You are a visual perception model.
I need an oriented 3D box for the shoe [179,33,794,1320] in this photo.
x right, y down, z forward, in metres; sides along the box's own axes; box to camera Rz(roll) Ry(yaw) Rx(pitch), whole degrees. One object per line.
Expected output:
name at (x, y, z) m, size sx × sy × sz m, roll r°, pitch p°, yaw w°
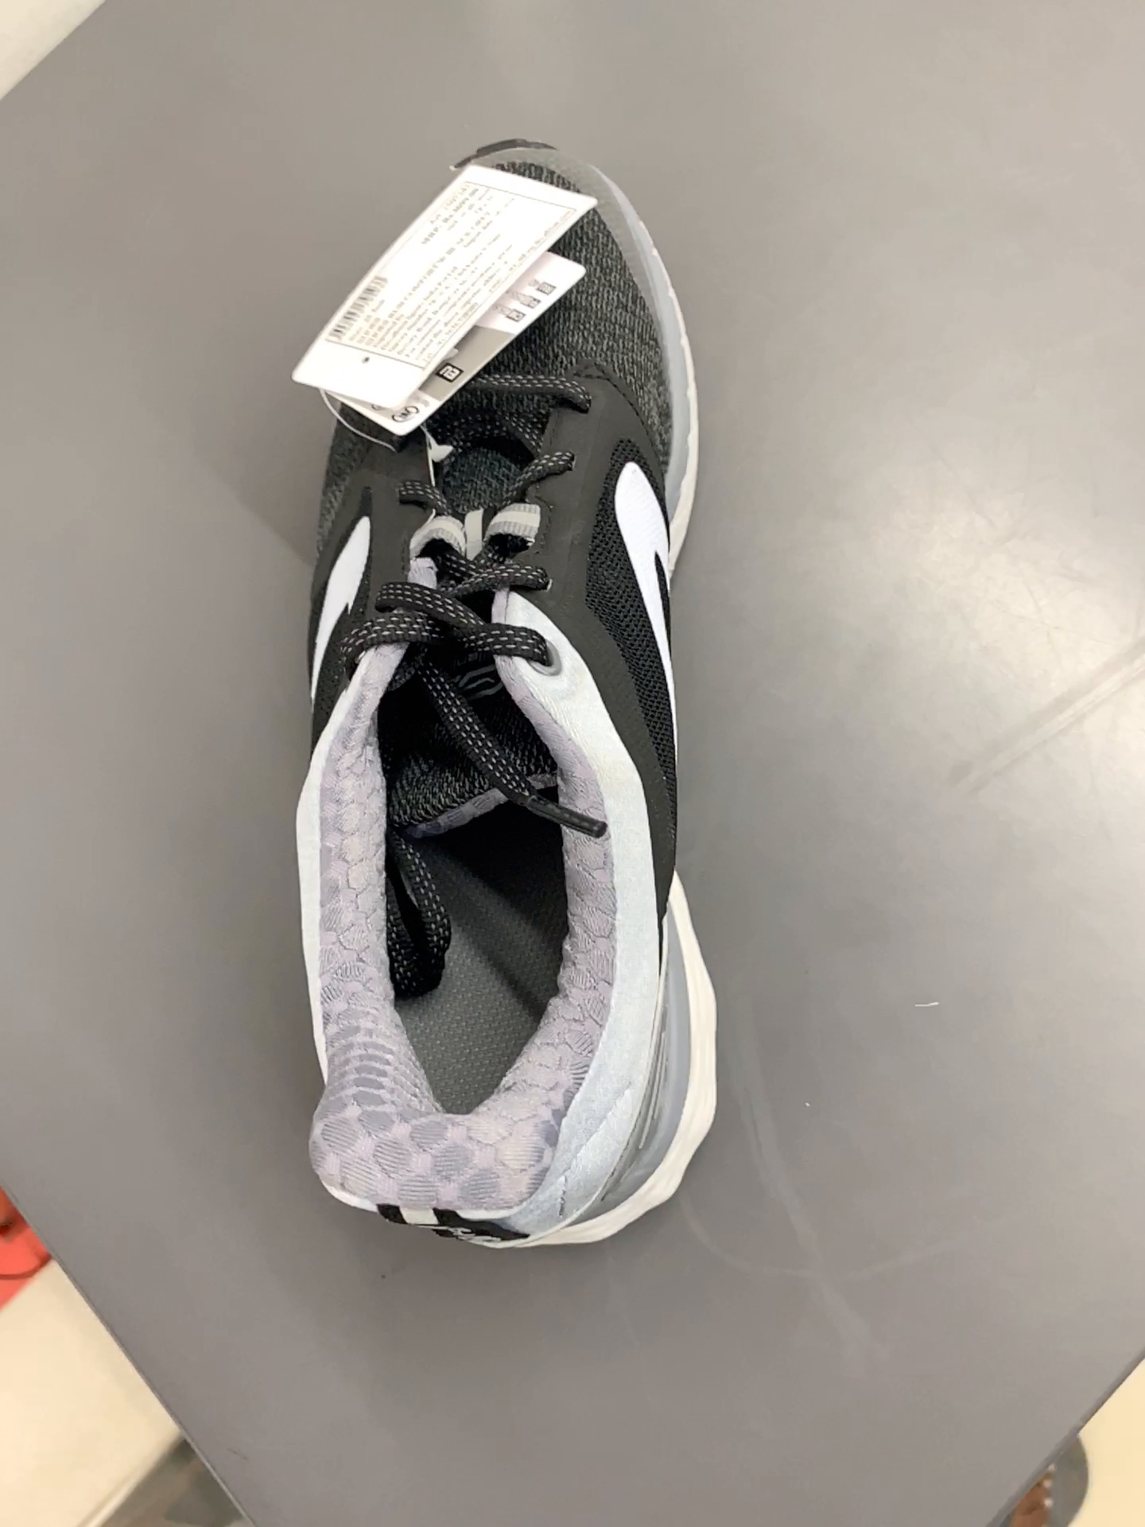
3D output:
shoe at (-0.017, -0.018, 0.263) m, size 0.100 × 0.090 × 0.240 m, roll -7°, pitch 74°, yaw 8°
